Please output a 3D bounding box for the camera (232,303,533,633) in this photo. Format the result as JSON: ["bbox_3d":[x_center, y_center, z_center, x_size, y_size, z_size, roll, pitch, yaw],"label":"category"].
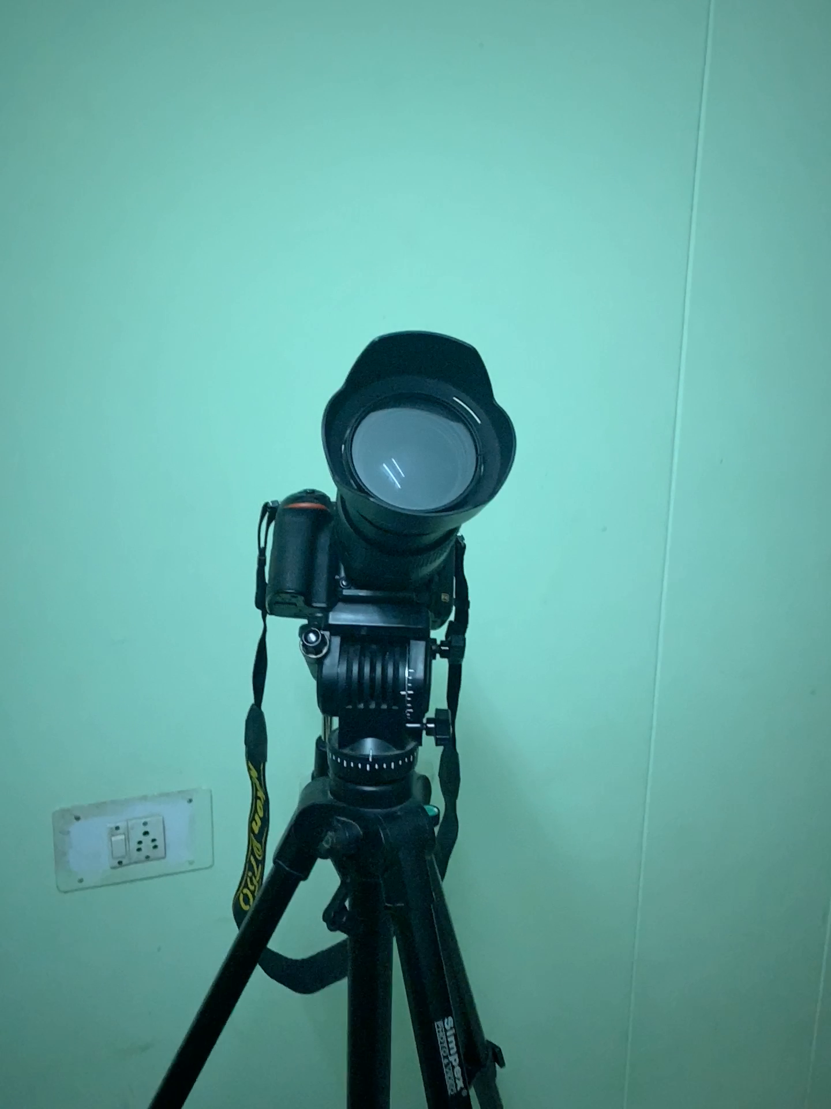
[{"bbox_3d":[-0.028,-0.037,0.562,0.151,0.120,0.247,3,-18,-6],"label":"camera"}]
